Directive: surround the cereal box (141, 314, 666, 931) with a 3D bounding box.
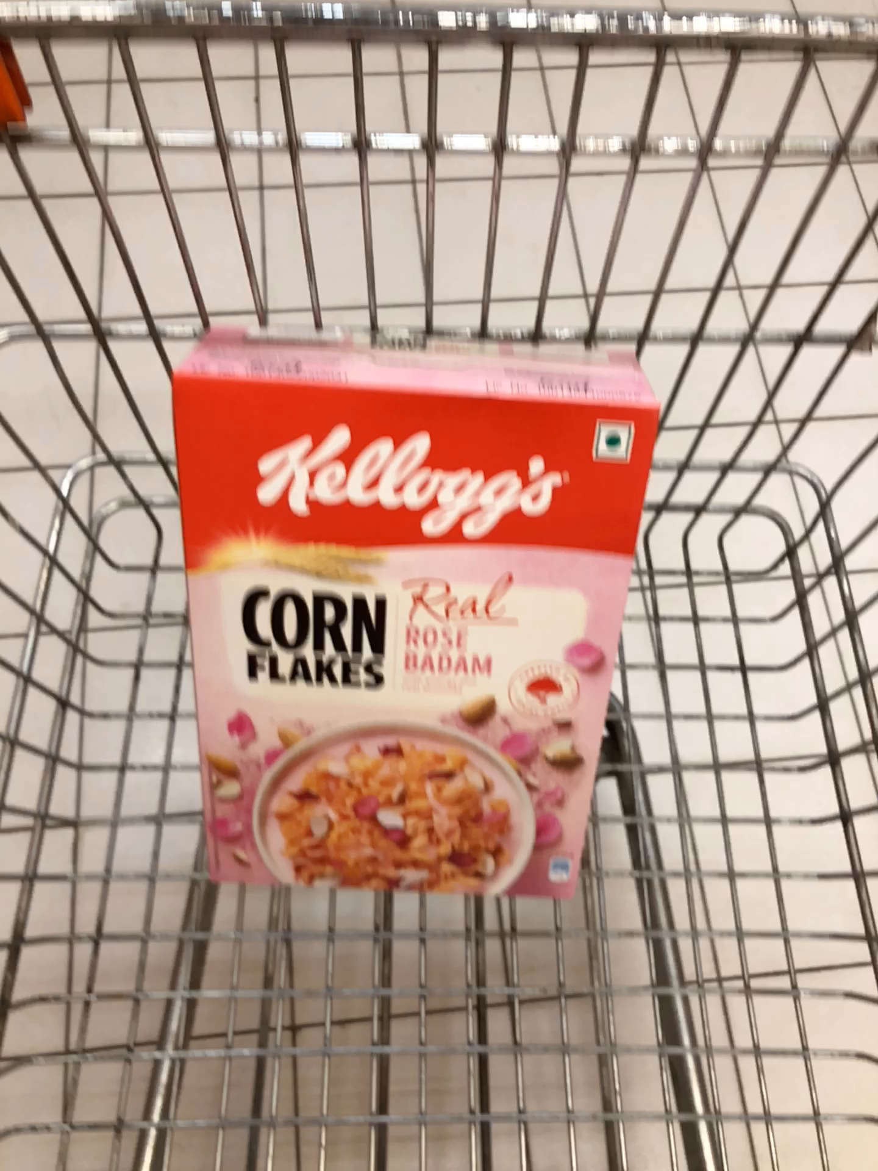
[{"bbox_3d":[-0.019,0.026,0.433,0.180,0.259,0.080,3,29,-1],"label":"cereal box"}]
